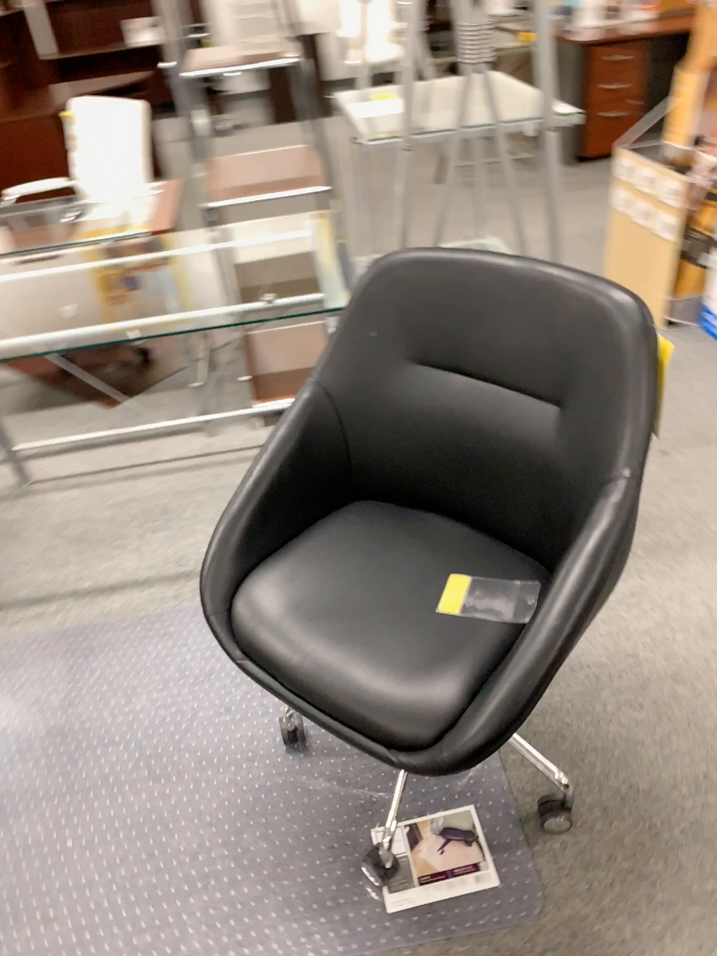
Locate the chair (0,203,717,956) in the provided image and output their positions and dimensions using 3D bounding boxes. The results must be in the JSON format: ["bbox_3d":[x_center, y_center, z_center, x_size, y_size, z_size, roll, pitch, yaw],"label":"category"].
[{"bbox_3d":[0.056,0.138,1.164,0.673,0.885,0.621,19,43,33],"label":"chair"}]
